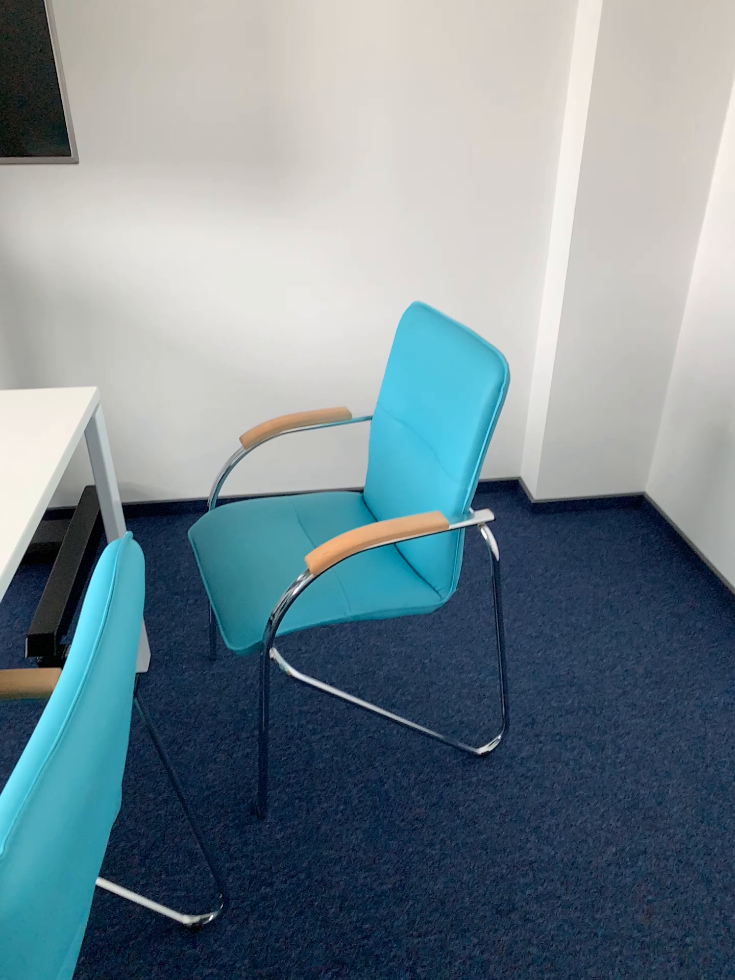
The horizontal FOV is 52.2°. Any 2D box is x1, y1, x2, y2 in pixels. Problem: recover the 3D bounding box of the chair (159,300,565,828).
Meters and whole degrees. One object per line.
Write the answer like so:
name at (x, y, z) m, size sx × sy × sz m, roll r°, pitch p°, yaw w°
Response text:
chair at (-0.055, 0.114, 1.647) m, size 0.601 × 0.845 × 0.623 m, roll -10°, pitch 31°, yaw -18°
